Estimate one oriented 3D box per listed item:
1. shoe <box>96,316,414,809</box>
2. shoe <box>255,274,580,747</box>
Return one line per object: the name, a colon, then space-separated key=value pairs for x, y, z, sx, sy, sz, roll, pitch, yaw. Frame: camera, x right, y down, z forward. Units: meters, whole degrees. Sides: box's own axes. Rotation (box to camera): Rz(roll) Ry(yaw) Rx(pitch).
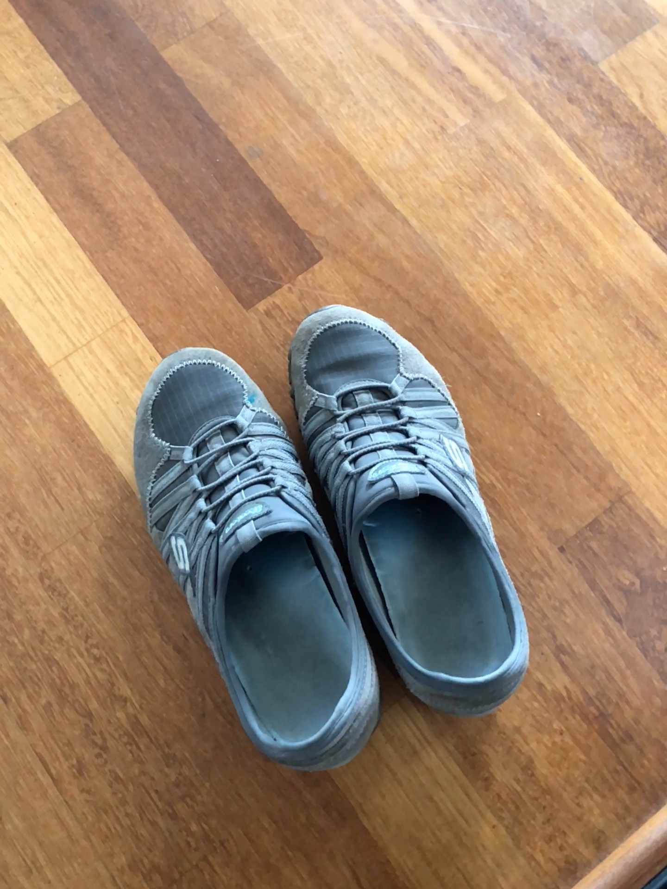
shoe: x=-0.049 y=0.067 z=0.458 sx=0.096 sy=0.106 sz=0.253 roll=-20 pitch=78 yaw=-6
shoe: x=0.041 y=0.039 z=0.462 sx=0.093 sy=0.106 sz=0.250 roll=-20 pitch=78 yaw=-6
